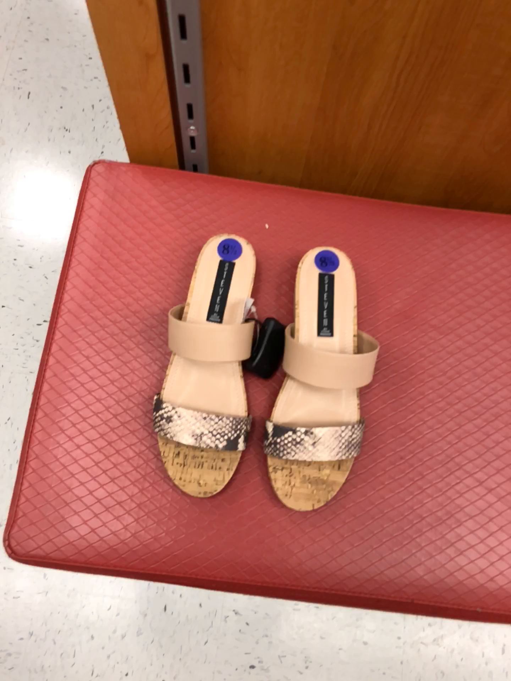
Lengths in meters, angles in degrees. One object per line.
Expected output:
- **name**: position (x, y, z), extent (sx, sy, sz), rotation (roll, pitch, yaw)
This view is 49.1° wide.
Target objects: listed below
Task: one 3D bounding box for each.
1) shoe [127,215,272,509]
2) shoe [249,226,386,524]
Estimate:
- **shoe**: position (-0.047, 0.021, 0.531), extent (0.095, 0.085, 0.257), rotation (6, 74, -1)
- **shoe**: position (0.059, 0.033, 0.532), extent (0.096, 0.085, 0.257), rotation (7, 74, -1)
